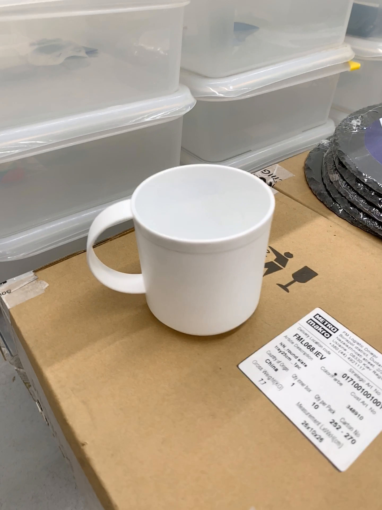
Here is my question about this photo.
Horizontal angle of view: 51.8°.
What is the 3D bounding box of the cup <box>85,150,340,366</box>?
[{"bbox_3d":[0.005,-0.002,0.224,0.113,0.075,0.080,-8,40,-8],"label":"cup"}]
